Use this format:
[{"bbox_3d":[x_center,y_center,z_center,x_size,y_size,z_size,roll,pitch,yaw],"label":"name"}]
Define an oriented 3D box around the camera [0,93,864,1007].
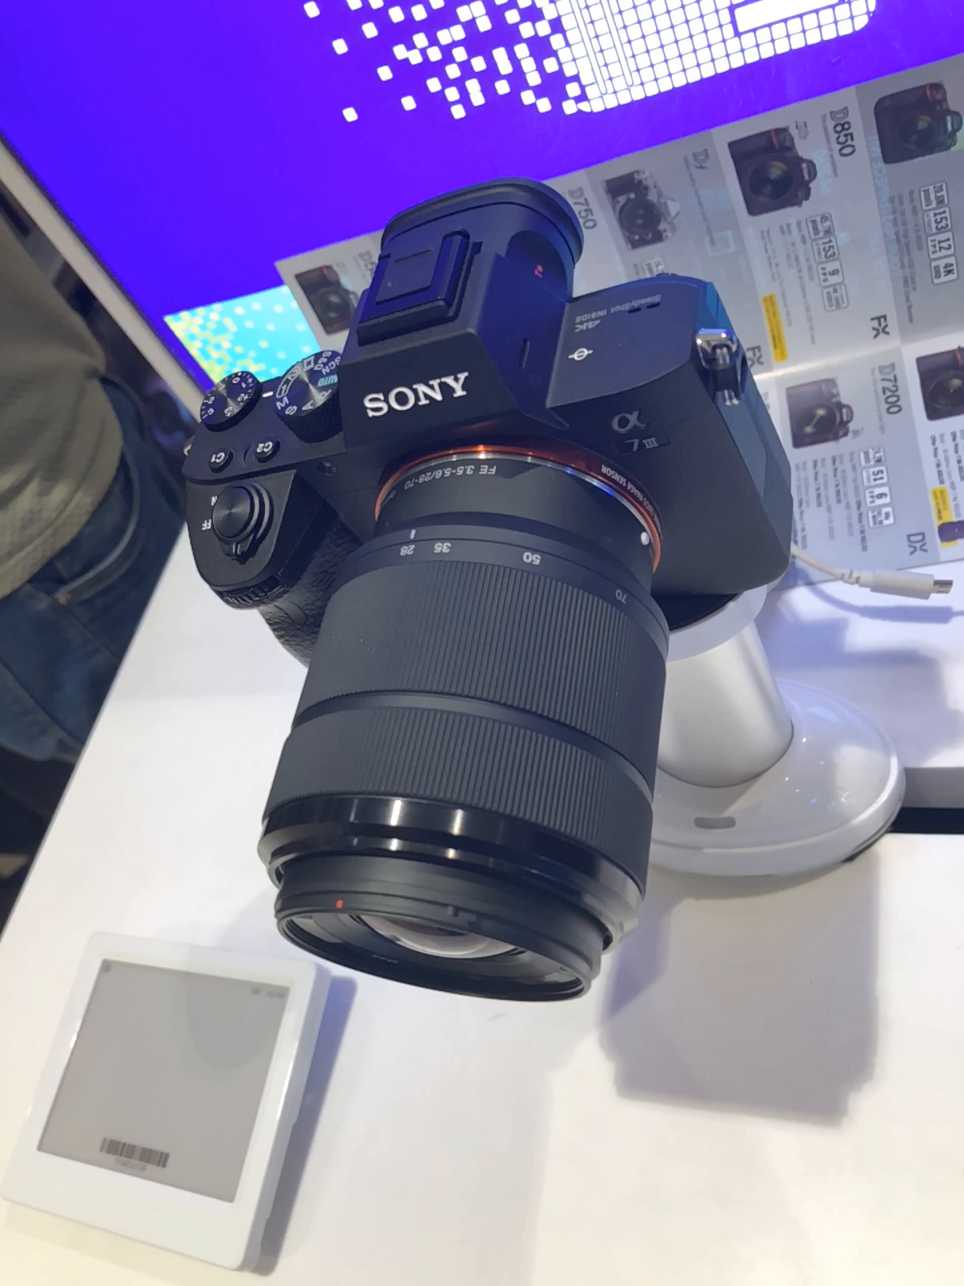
[{"bbox_3d":[0.004,-0.008,0.219,0.120,0.109,0.128,-7,53,23],"label":"camera"}]
